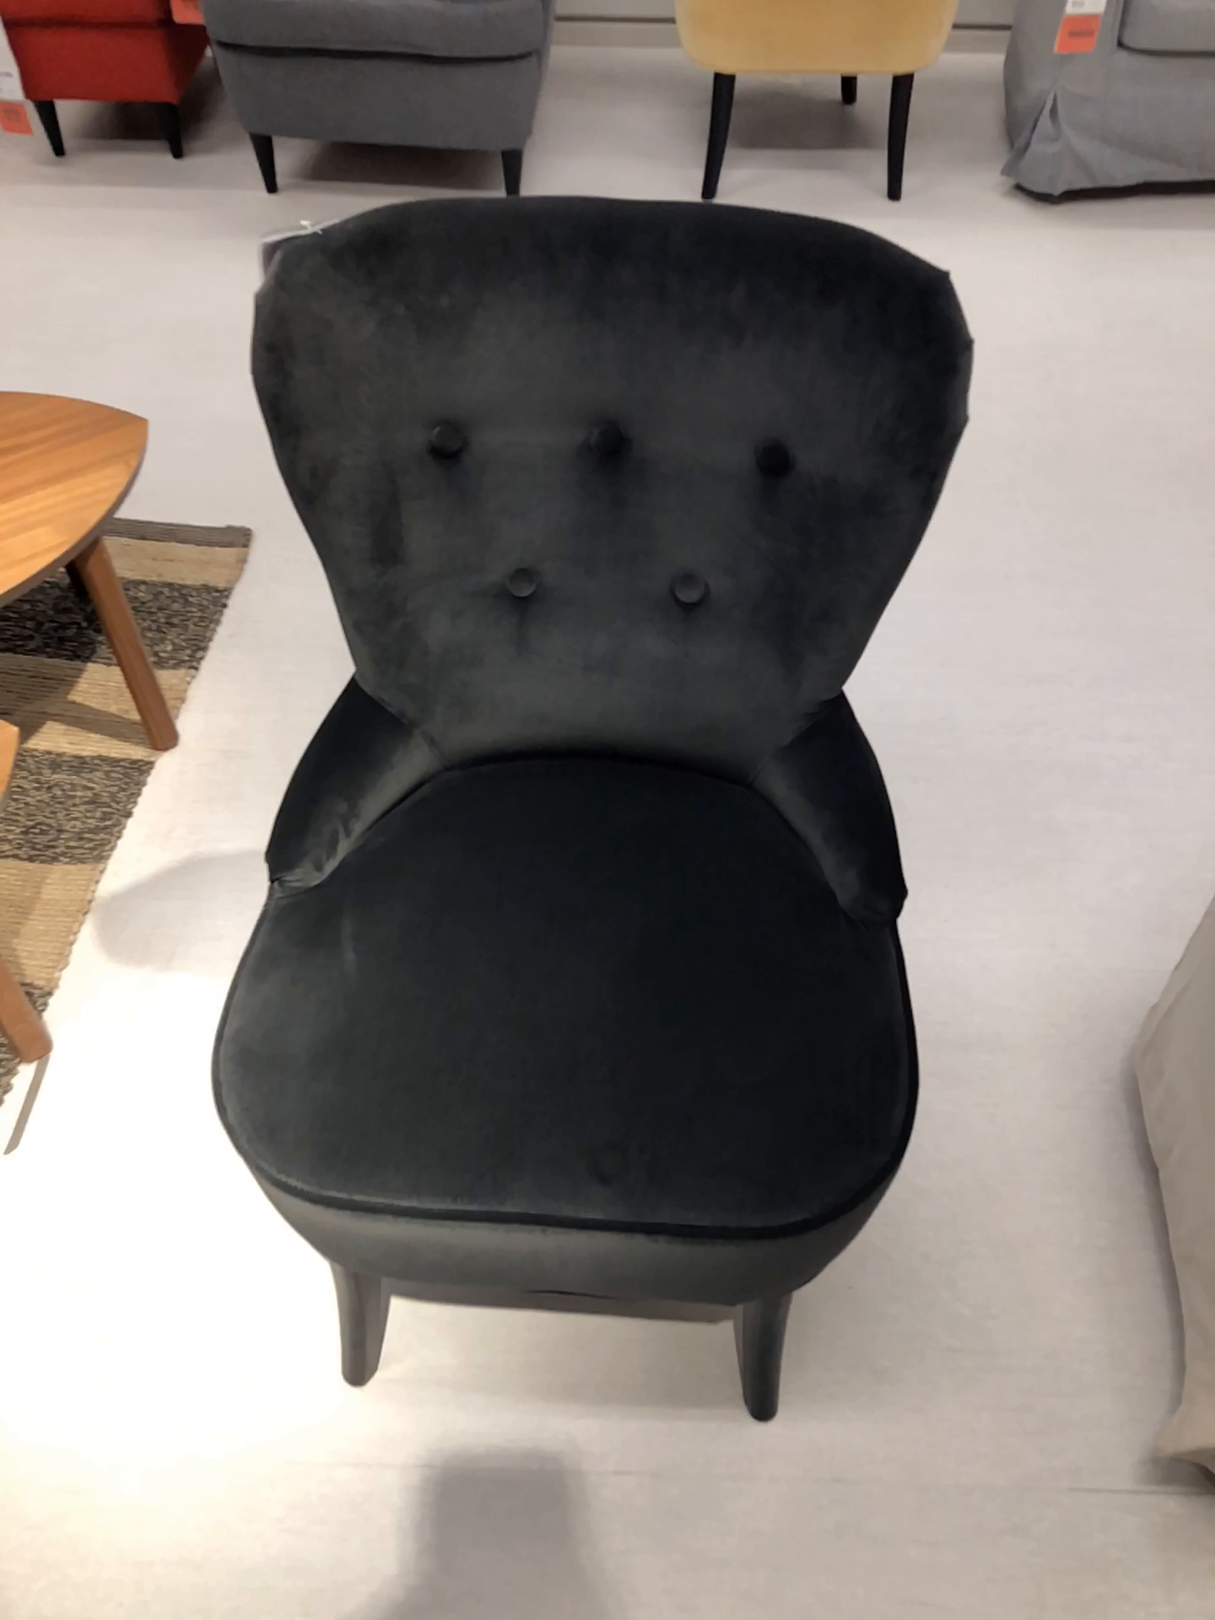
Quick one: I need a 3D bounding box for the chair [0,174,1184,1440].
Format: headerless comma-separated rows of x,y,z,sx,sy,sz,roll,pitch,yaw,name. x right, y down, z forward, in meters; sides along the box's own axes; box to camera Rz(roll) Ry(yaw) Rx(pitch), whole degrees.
-0.008,0.014,1.189,0.600,0.775,0.795,3,50,2,chair
